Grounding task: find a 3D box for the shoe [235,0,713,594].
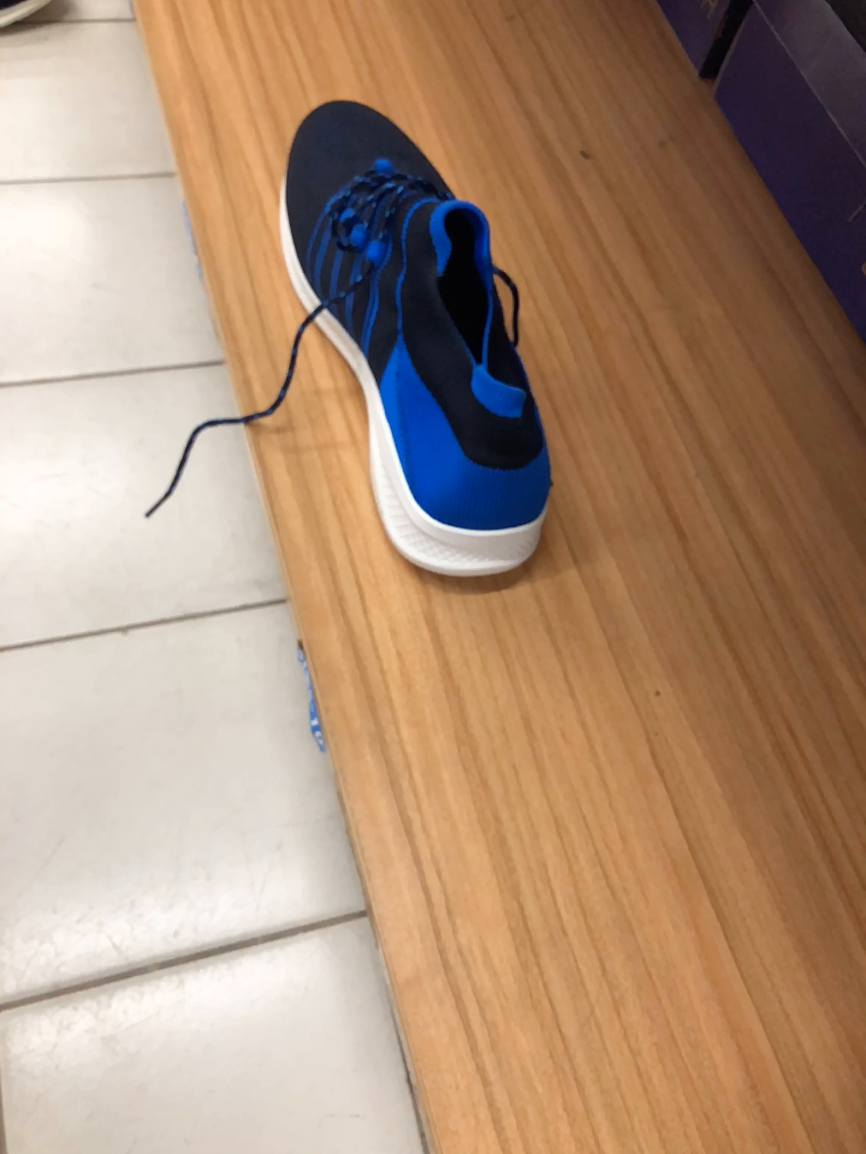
[{"bbox_3d":[-0.001,-0.142,0.430,0.110,0.110,0.261,-13,65,-17],"label":"shoe"}]
